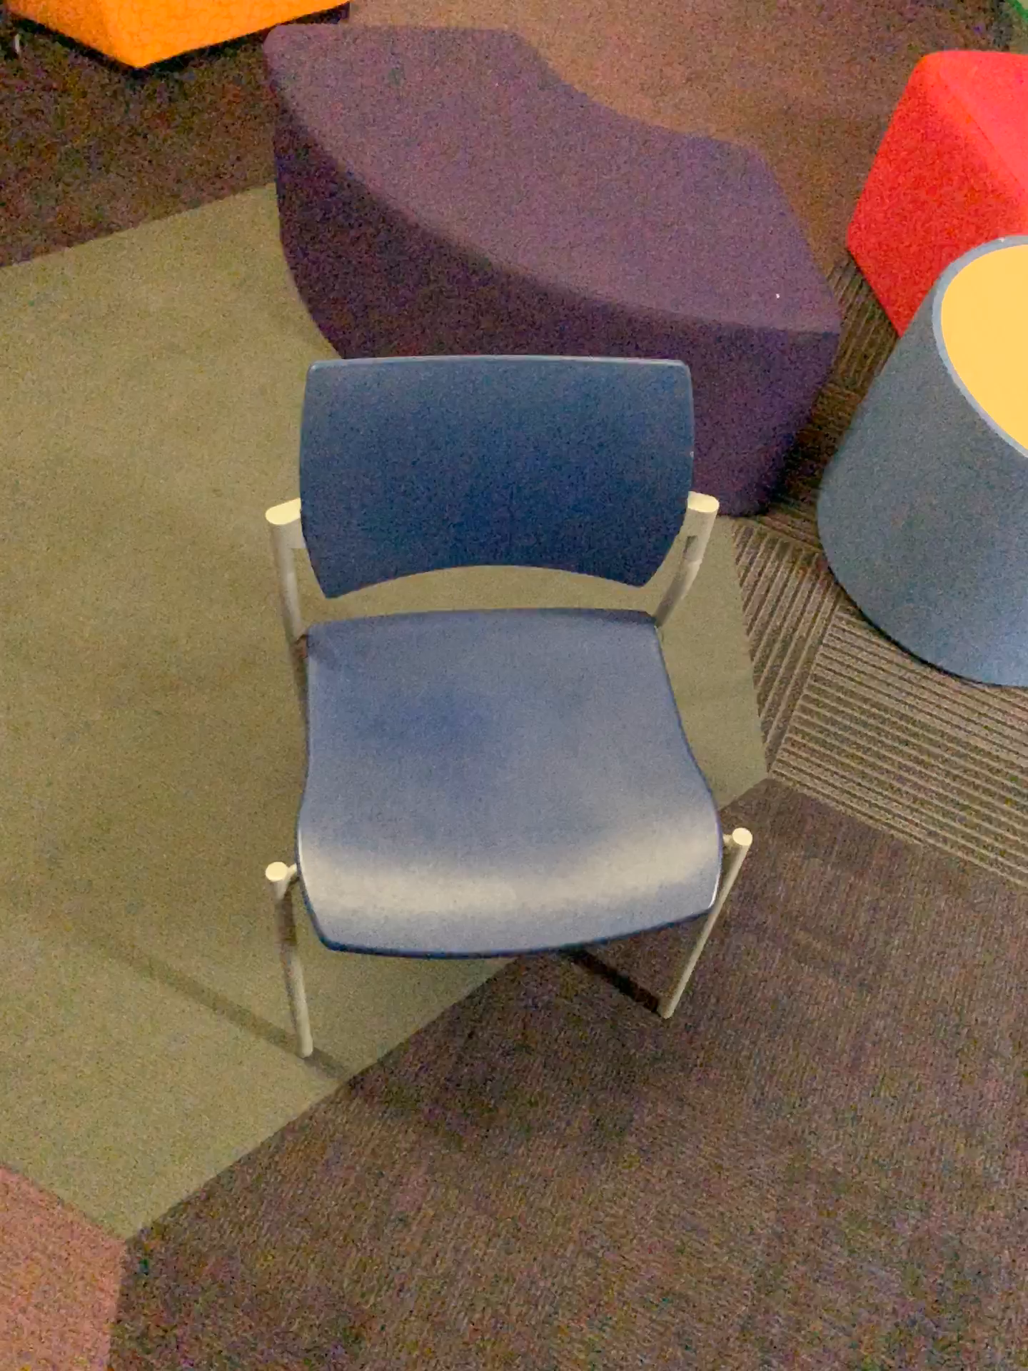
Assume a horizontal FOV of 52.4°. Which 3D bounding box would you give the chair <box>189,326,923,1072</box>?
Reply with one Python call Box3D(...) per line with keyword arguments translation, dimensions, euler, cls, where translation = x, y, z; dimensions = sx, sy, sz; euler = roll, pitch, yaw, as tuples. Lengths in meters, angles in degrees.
Box3D(translation=(-0.019, 0.054, 1.228), dimensions=(0.560, 0.695, 0.574), euler=(-2, 58, -8), cls="chair")
